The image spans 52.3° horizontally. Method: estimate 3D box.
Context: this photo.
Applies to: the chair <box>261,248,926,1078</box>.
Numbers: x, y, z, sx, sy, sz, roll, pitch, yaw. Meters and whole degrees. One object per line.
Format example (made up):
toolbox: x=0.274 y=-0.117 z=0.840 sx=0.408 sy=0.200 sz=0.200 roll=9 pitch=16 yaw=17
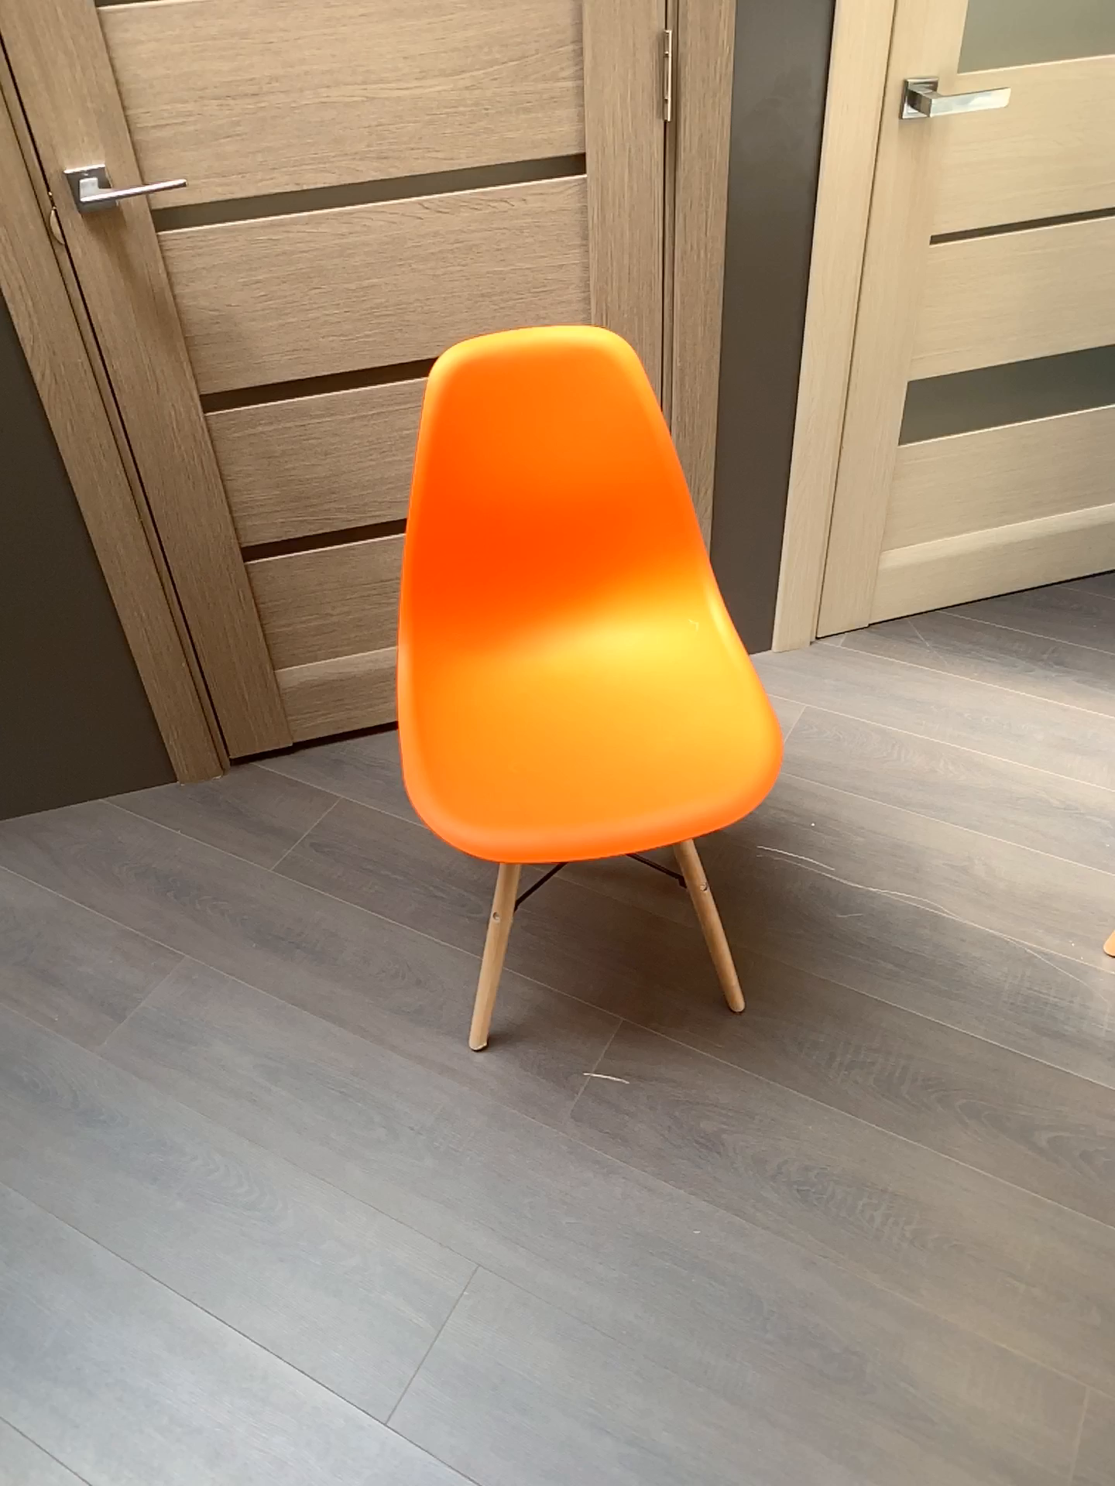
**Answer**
chair: x=0.006 y=-0.090 z=1.314 sx=0.530 sy=0.716 sz=0.523 roll=-9 pitch=41 yaw=-6
